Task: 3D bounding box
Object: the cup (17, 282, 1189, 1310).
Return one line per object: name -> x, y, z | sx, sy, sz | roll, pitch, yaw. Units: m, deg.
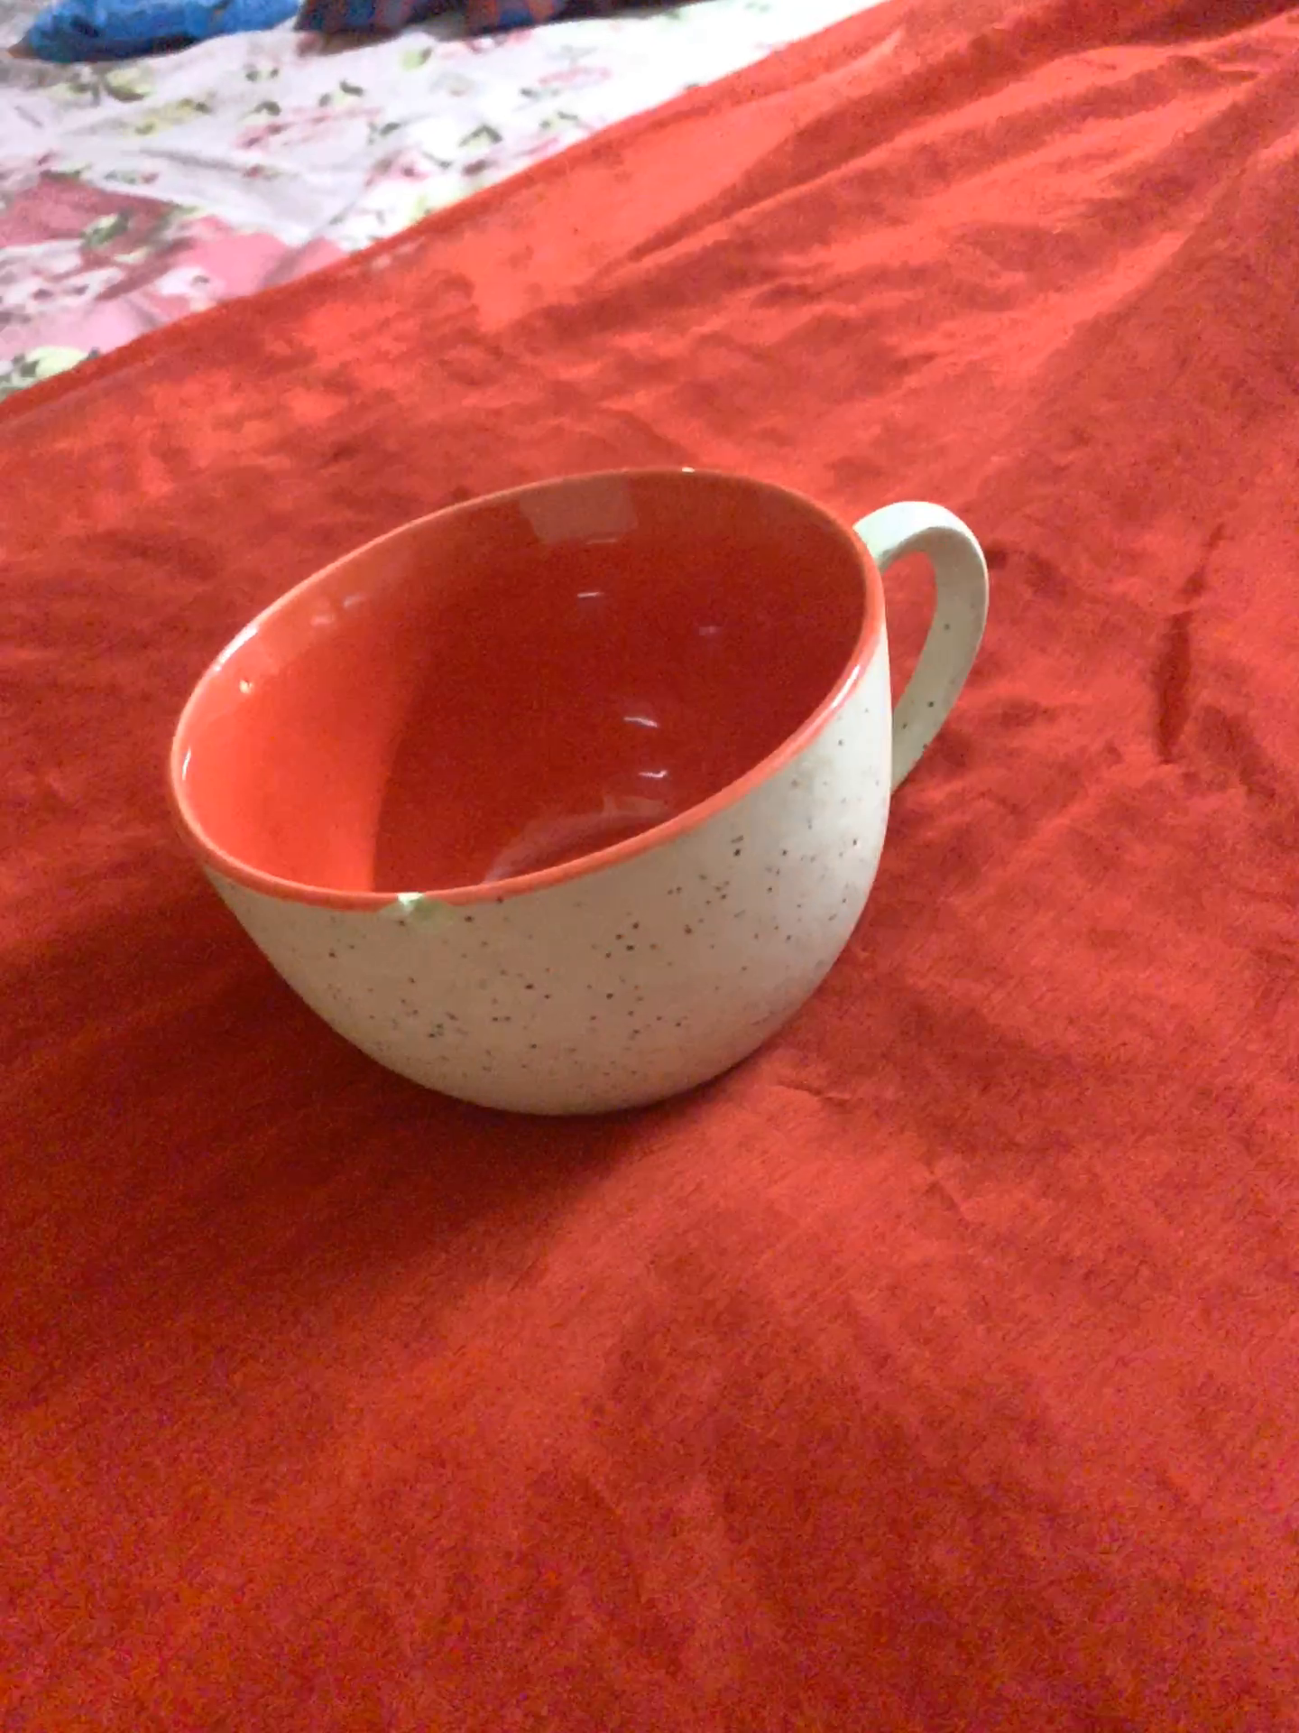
cup -> -0.013, -0.028, 0.234 | 0.140, 0.069, 0.131 | -7, 42, 6
